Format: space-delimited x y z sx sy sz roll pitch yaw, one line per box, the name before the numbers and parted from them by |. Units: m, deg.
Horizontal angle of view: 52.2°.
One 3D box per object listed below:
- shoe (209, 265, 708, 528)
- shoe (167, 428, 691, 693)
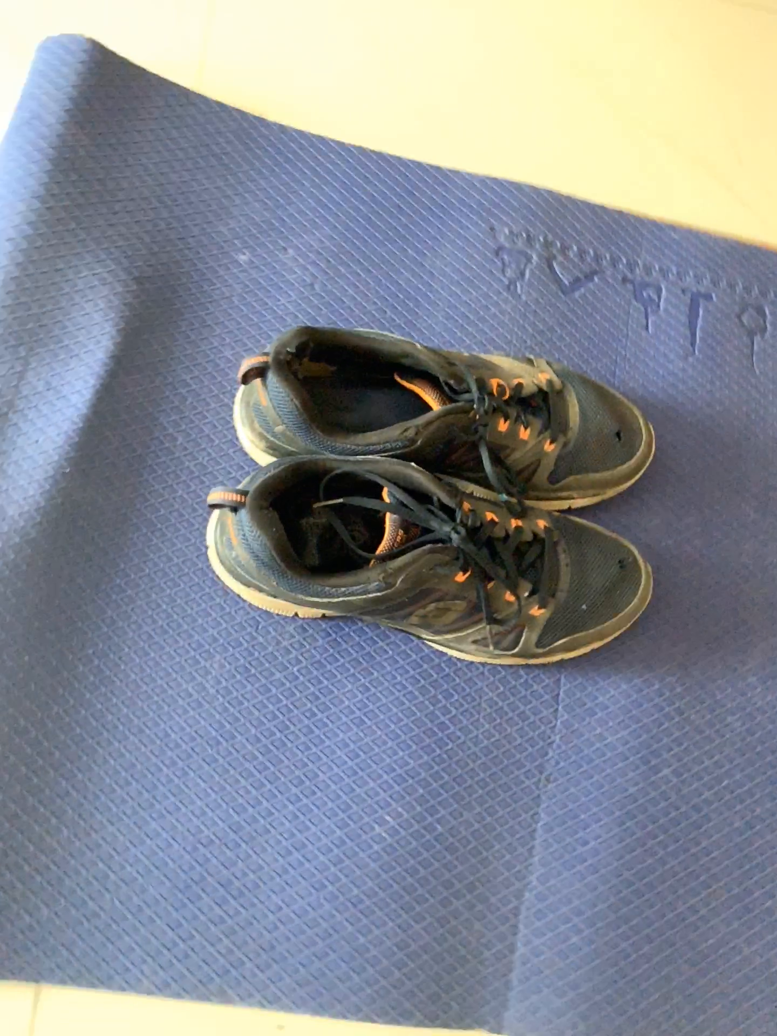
shoe | 0.045 -0.073 0.539 0.310 0.100 0.110 6 76 -9
shoe | 0.028 0.037 0.534 0.320 0.100 0.100 11 69 -7
